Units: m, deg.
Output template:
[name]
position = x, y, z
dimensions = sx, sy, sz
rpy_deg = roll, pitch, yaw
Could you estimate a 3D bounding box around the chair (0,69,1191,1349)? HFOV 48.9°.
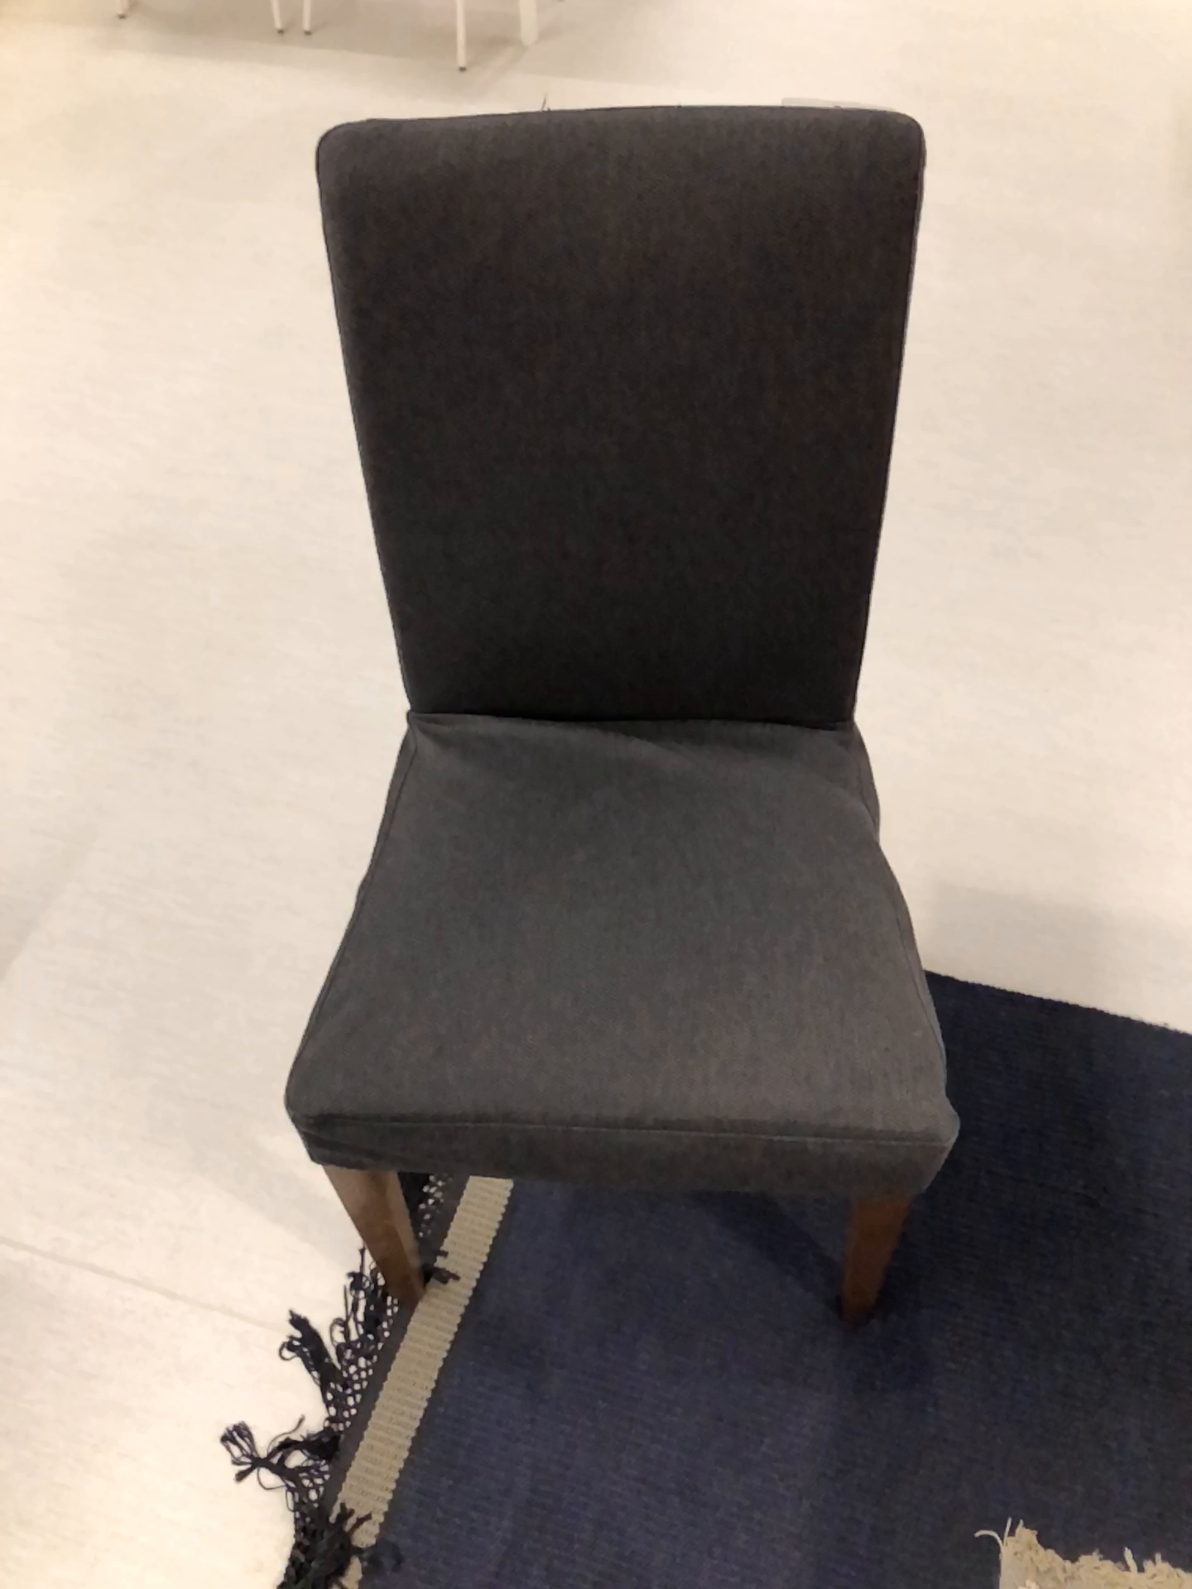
[chair]
position = 0.019, 0.020, 1.105
dimensions = 0.540, 0.964, 0.553
rpy_deg = 2, 52, 5
